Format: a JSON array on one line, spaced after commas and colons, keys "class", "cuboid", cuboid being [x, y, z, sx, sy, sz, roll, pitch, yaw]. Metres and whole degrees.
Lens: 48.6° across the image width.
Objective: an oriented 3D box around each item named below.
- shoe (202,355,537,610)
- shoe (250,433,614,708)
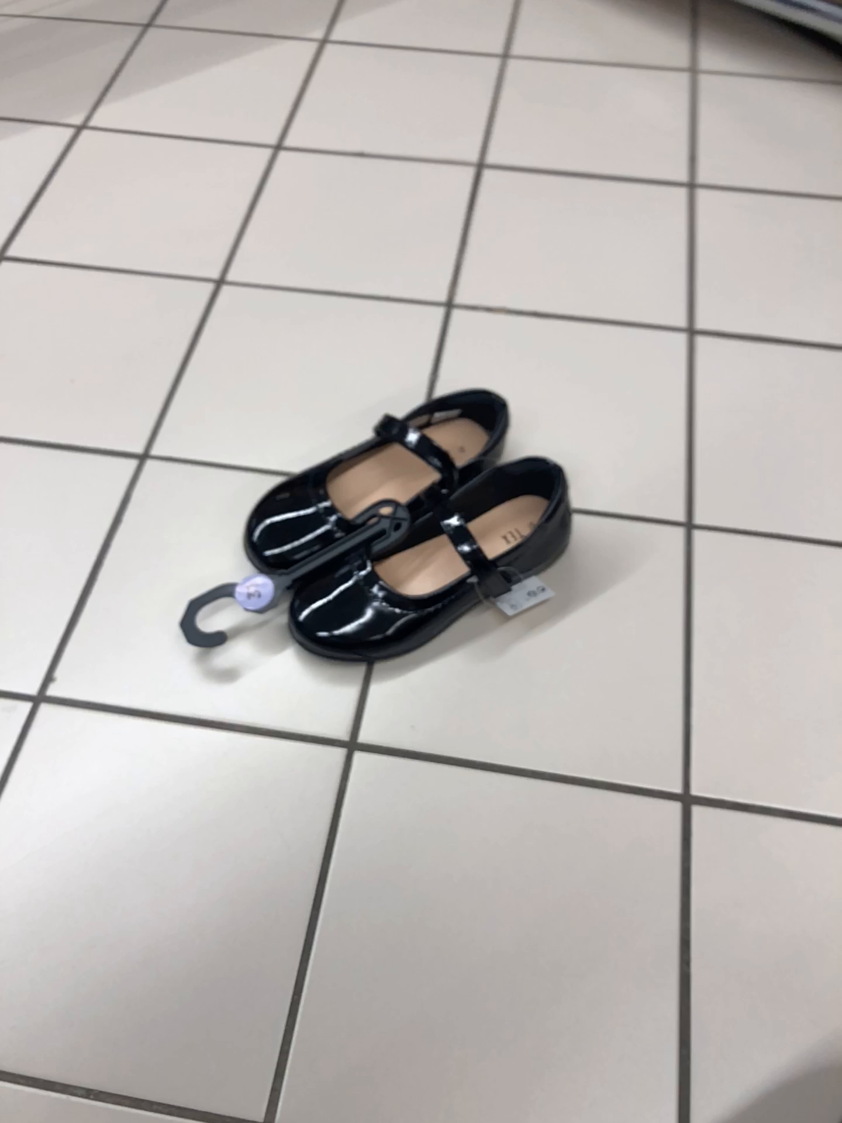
[{"class": "shoe", "cuboid": [-0.031, -0.056, 0.627, 0.205, 0.056, 0.079, -27, 60, -17]}, {"class": "shoe", "cuboid": [0.009, 0.002, 0.589, 0.211, 0.052, 0.079, -25, 59, -16]}]
